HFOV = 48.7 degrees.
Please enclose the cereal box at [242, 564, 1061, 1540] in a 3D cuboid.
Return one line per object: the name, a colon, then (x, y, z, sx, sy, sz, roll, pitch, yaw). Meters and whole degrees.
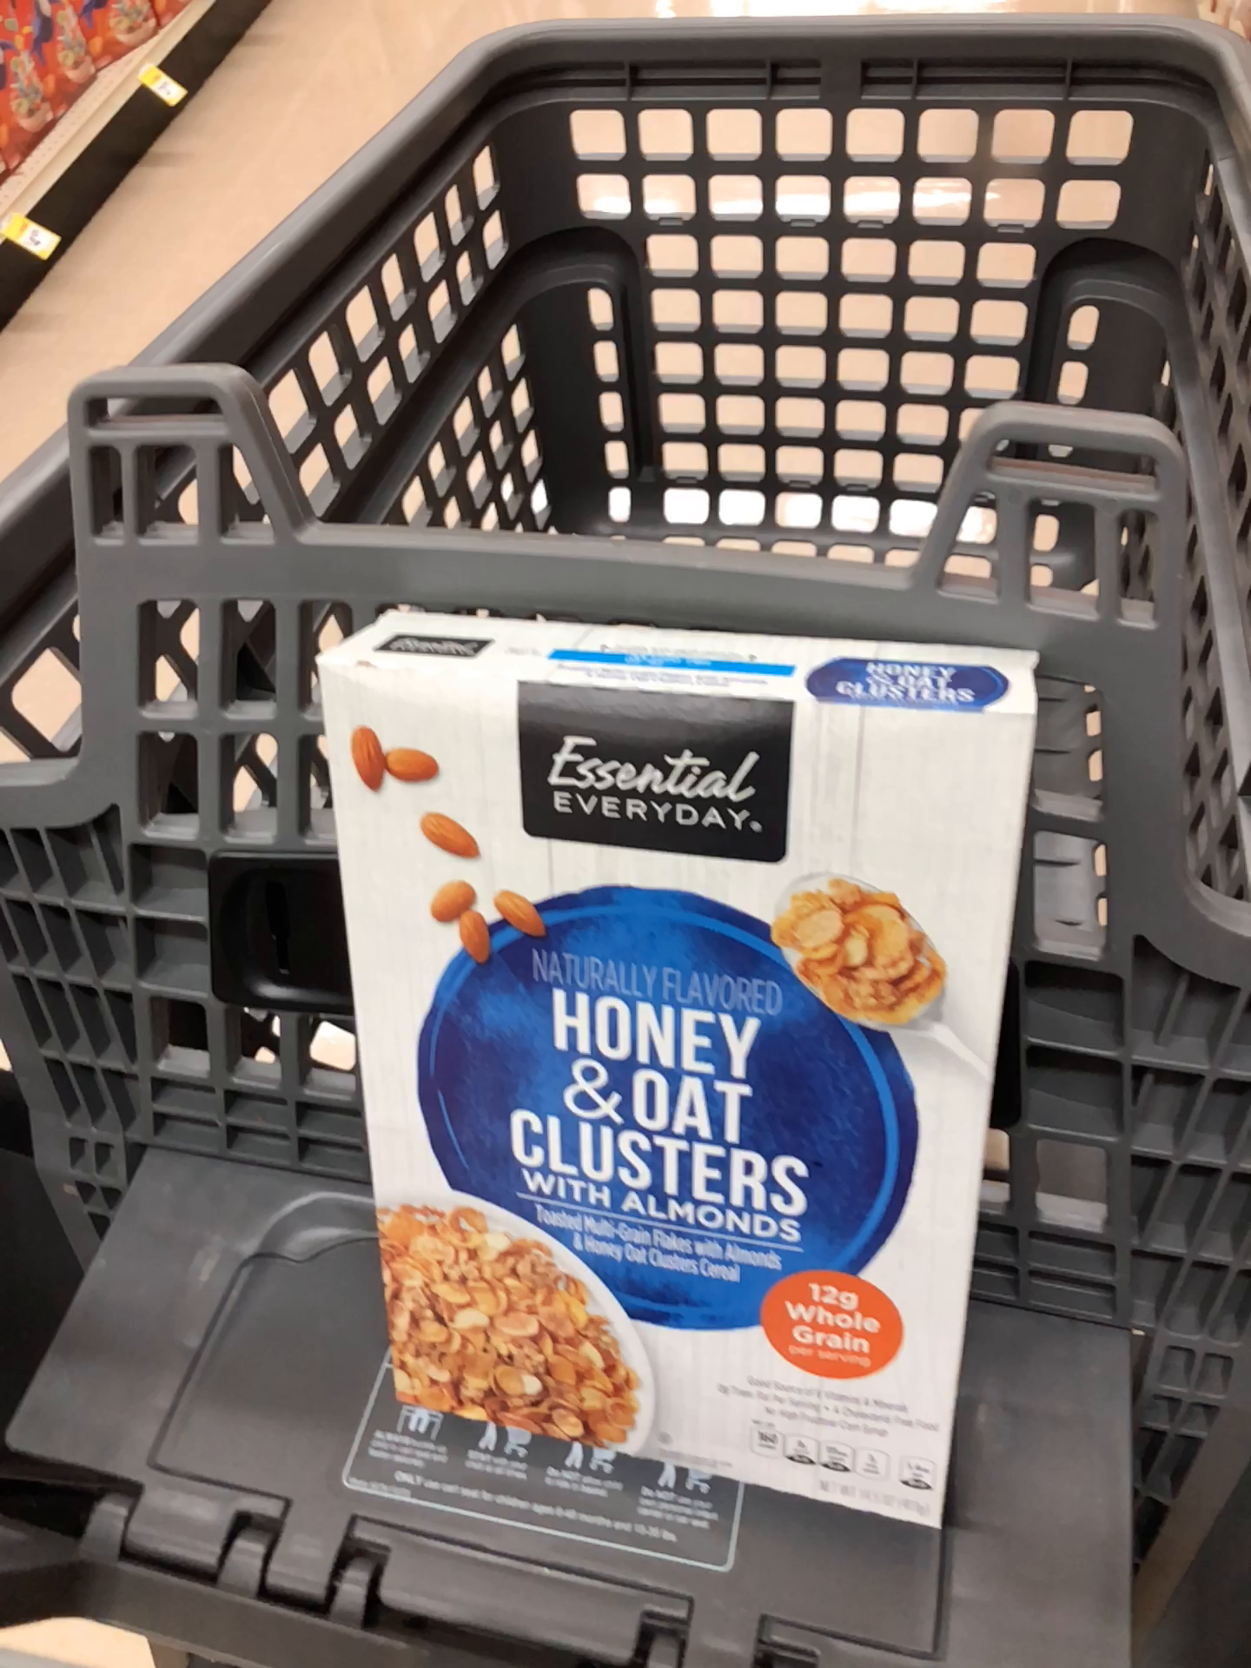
cereal box: (0.007, 0.069, 0.426, 0.210, 0.280, 0.060, 7, 25, 15)
